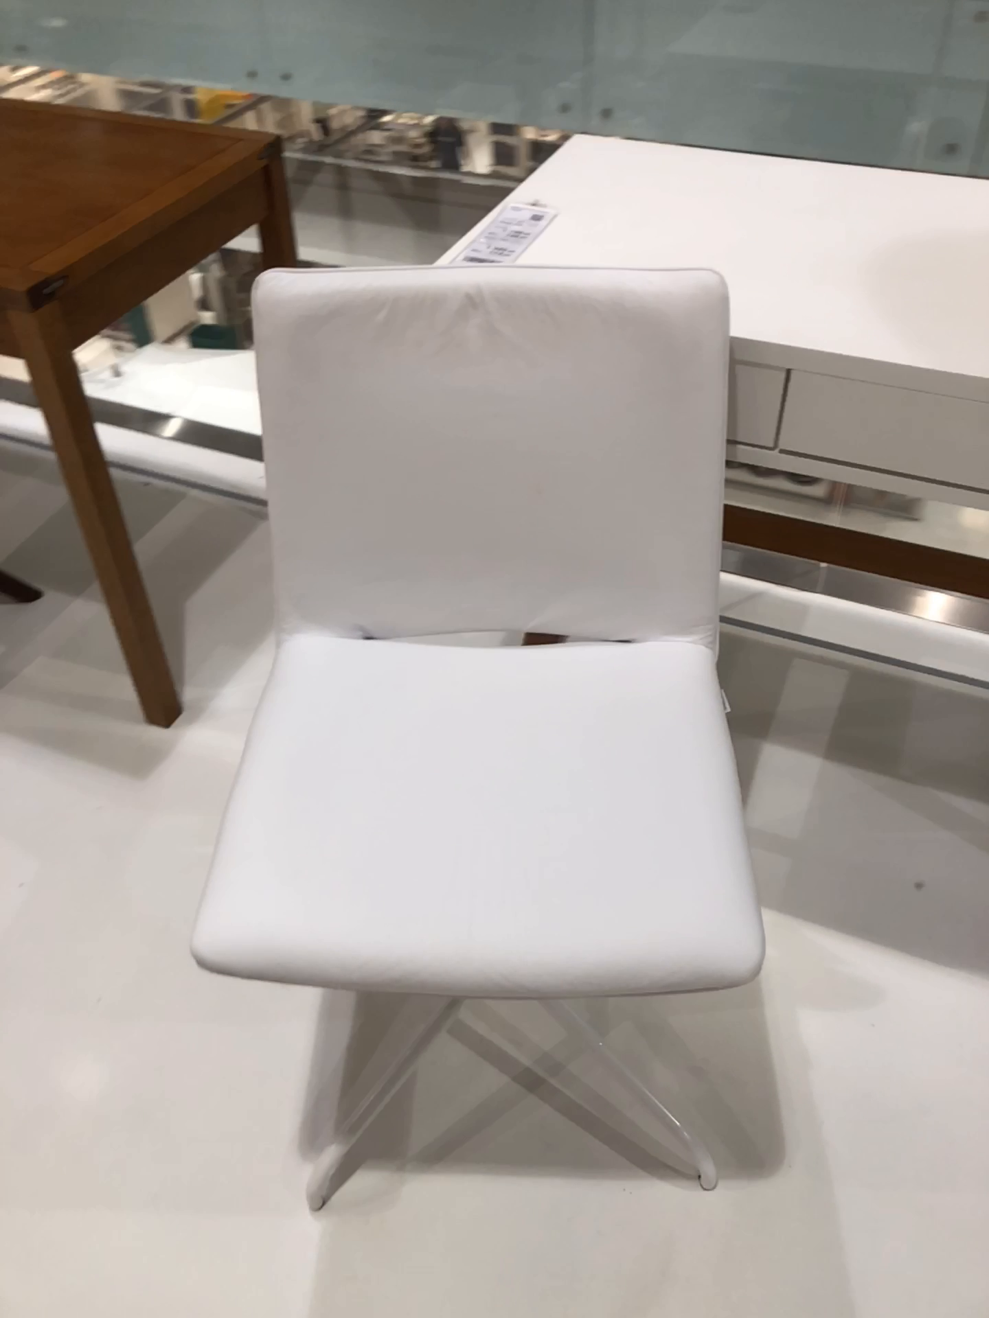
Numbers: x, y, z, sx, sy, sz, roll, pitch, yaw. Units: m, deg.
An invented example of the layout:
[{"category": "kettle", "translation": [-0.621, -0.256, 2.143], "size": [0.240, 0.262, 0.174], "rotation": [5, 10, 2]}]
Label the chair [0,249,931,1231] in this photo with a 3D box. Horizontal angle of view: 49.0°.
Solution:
[{"category": "chair", "translation": [-0.002, 0.122, 1.058], "size": [0.510, 0.844, 0.504], "rotation": [0, 42, 3]}]
